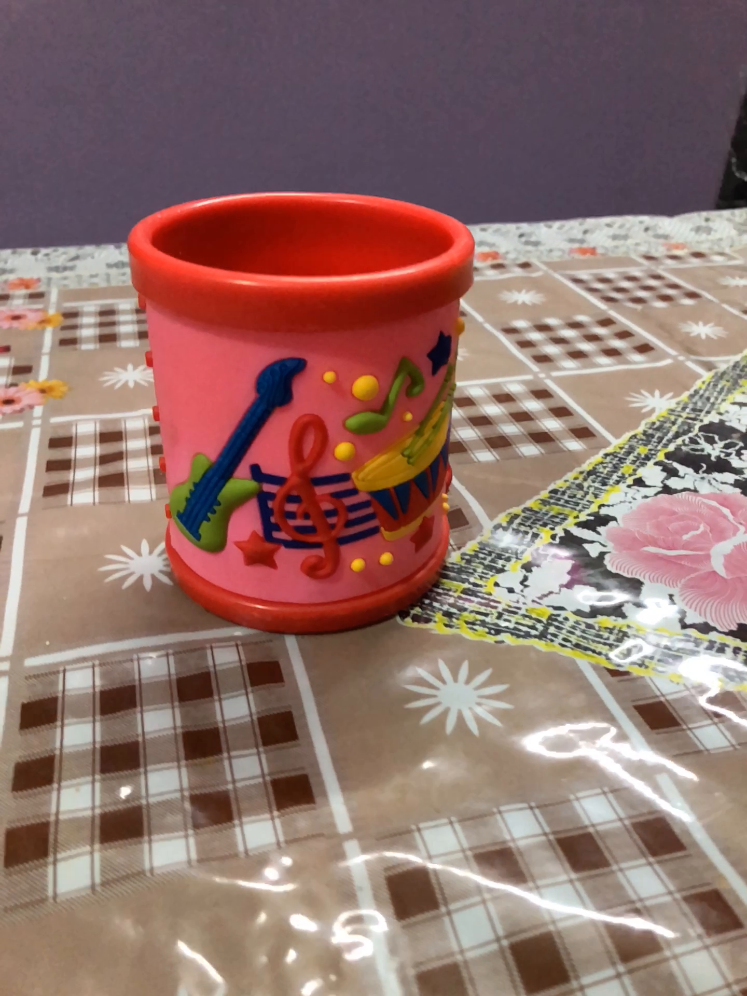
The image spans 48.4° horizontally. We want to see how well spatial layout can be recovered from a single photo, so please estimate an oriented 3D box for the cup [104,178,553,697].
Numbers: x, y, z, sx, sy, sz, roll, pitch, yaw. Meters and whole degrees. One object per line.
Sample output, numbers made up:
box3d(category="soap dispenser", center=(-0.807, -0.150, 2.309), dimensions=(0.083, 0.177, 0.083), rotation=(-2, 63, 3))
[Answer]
box3d(category="cup", center=(-0.016, -0.022, 0.219), dimensions=(0.080, 0.099, 0.080), rotation=(2, 31, -1))
